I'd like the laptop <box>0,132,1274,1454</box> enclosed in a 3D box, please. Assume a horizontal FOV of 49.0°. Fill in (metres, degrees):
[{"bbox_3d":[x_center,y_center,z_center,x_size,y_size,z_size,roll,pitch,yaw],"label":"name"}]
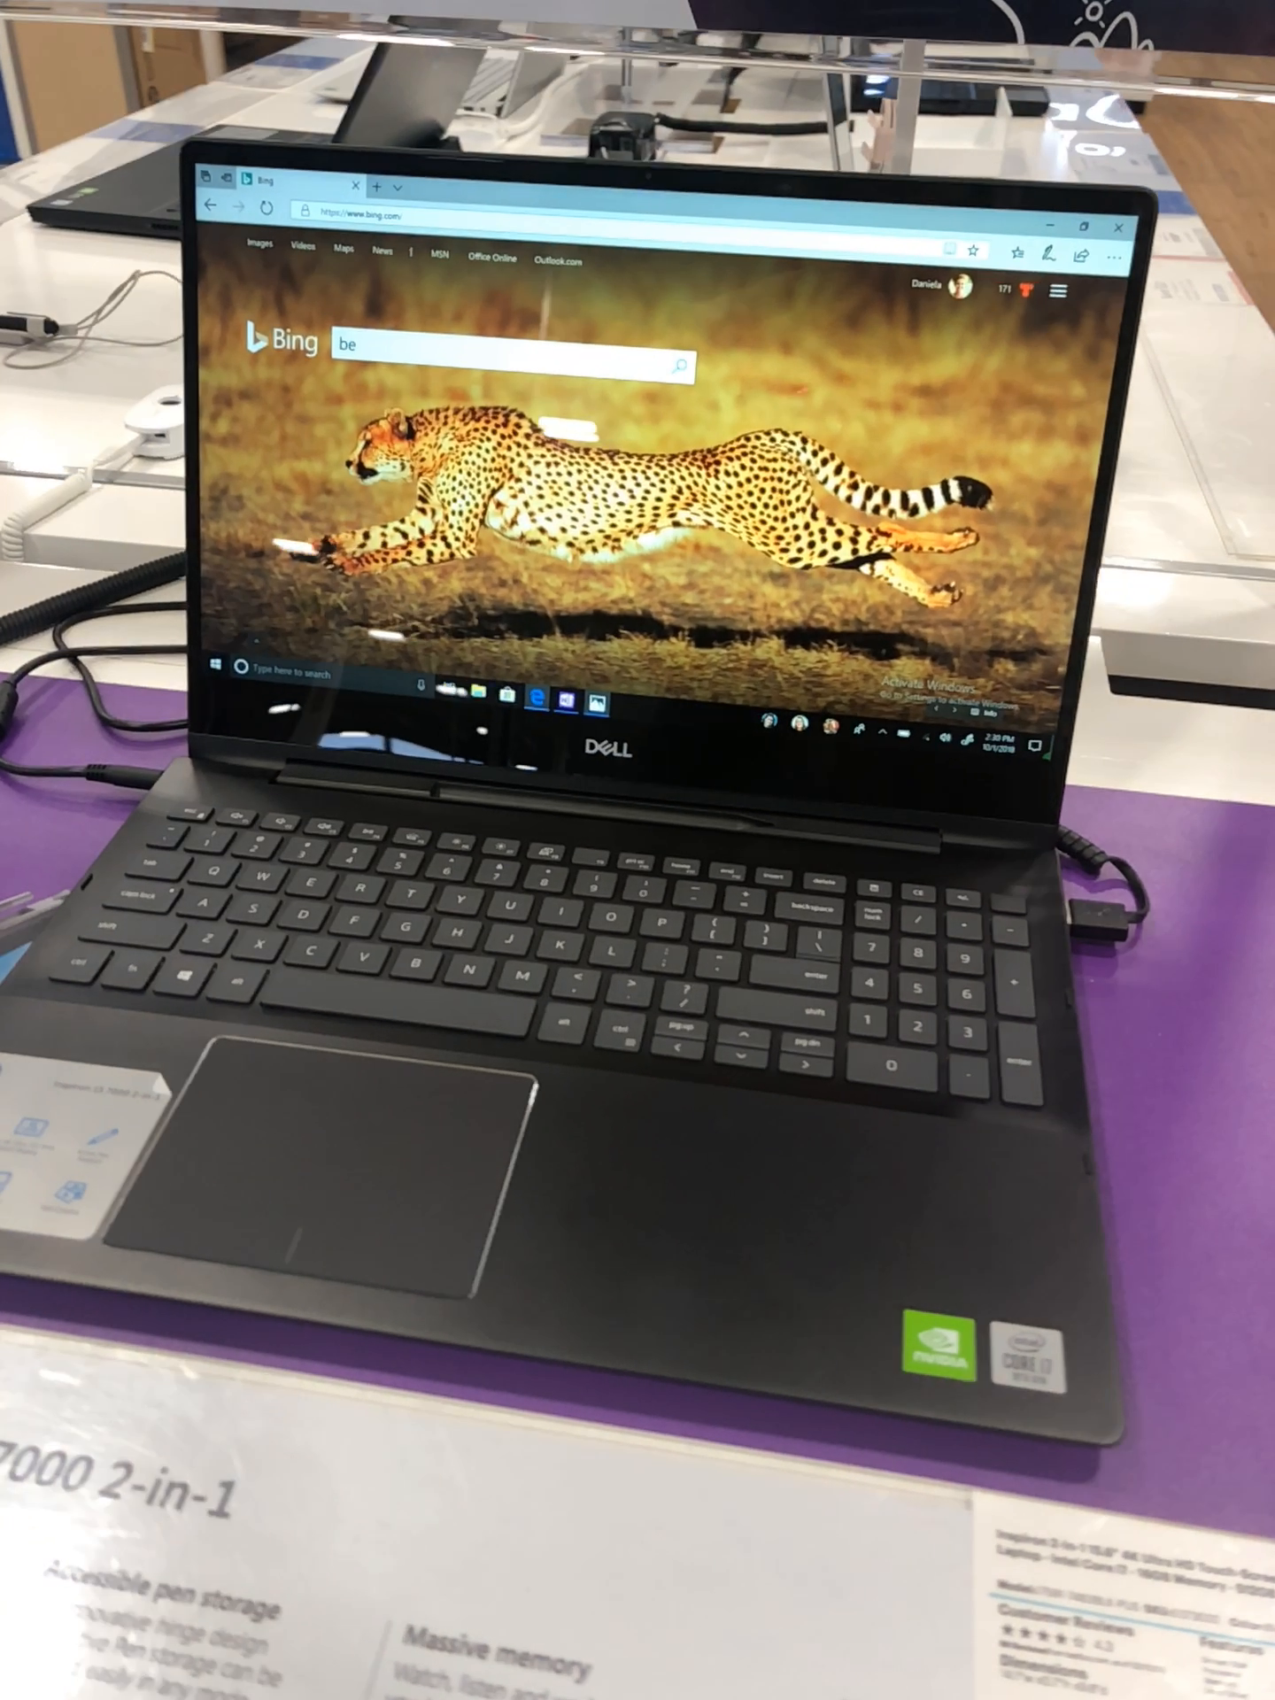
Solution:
[{"bbox_3d":[-0.026,-0.057,0.415,0.340,0.207,0.325,6,37,7],"label":"laptop"}]
